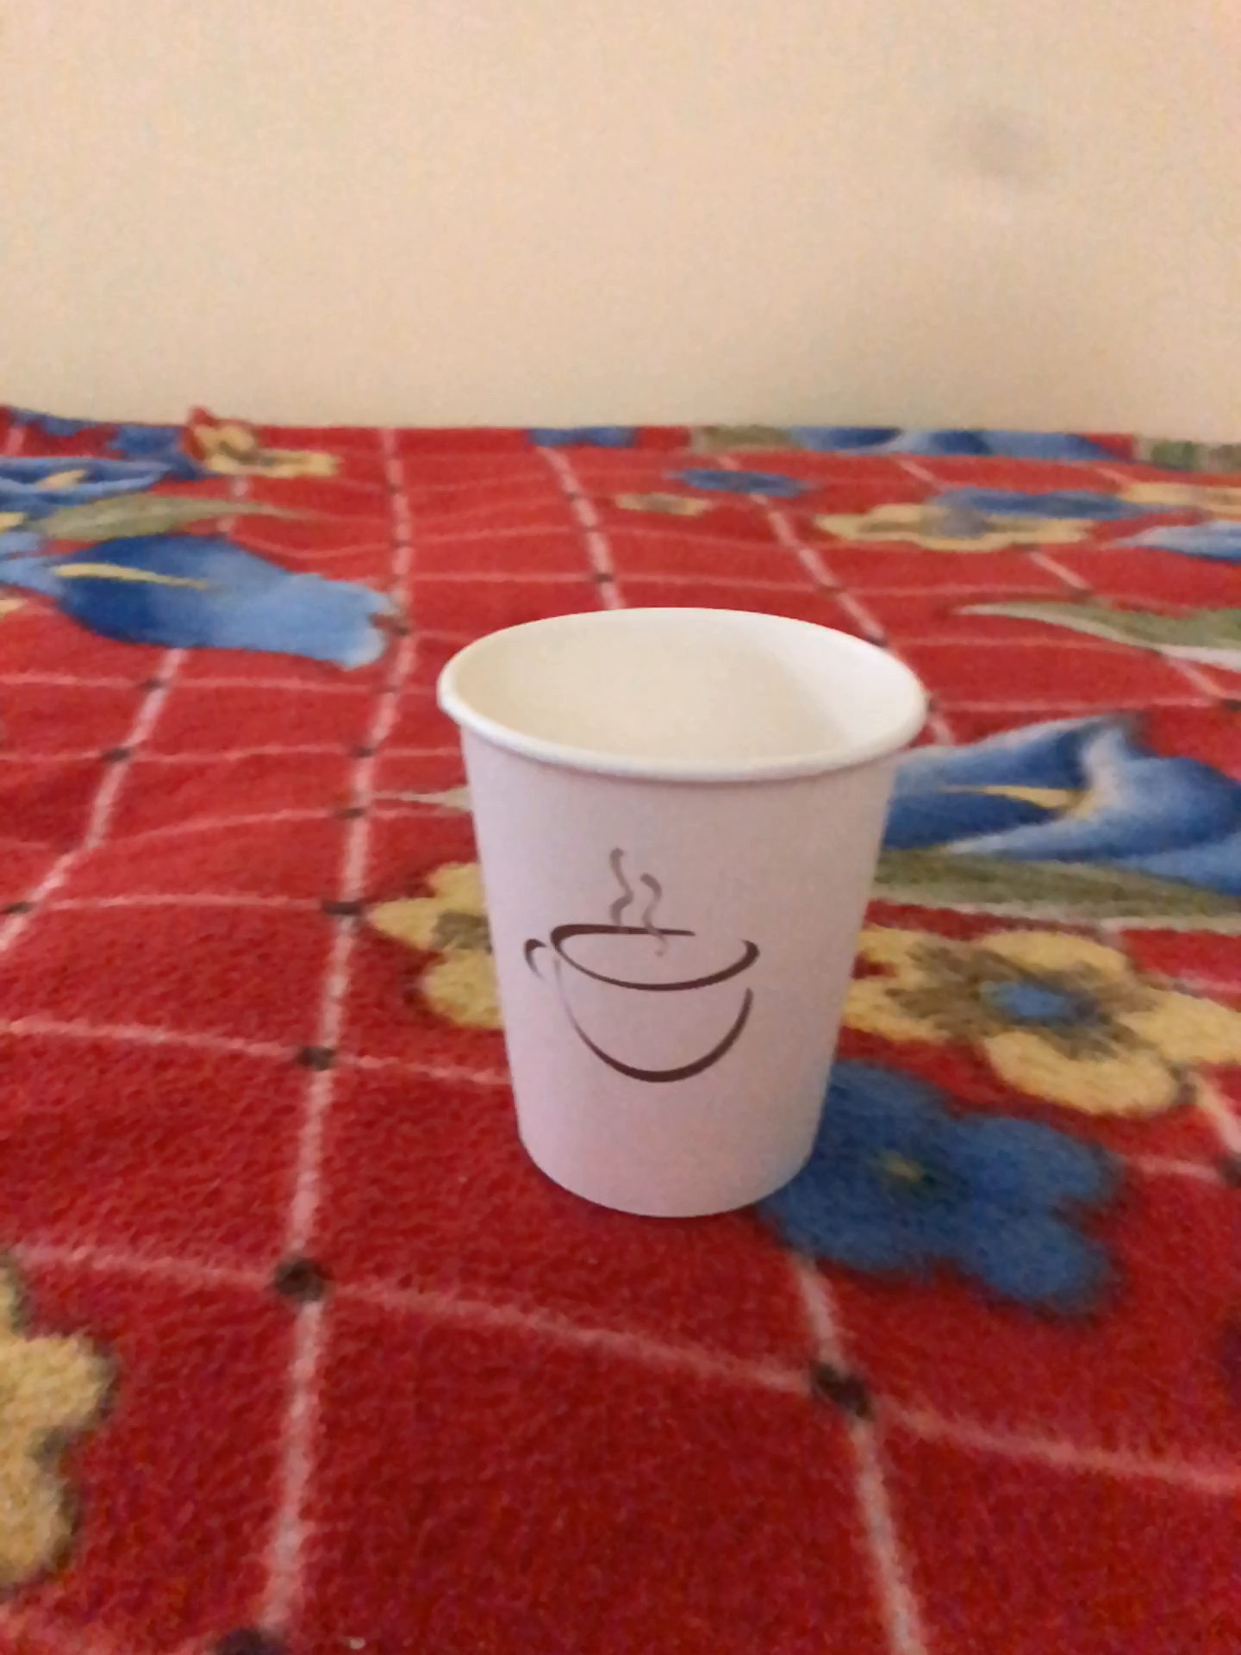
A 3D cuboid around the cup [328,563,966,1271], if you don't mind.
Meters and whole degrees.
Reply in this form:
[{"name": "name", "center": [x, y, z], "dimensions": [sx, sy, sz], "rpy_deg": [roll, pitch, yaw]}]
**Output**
[{"name": "cup", "center": [0.009, 0.011, 0.259], "dimensions": [0.090, 0.090, 0.080], "rpy_deg": [9, 29, 15]}]
